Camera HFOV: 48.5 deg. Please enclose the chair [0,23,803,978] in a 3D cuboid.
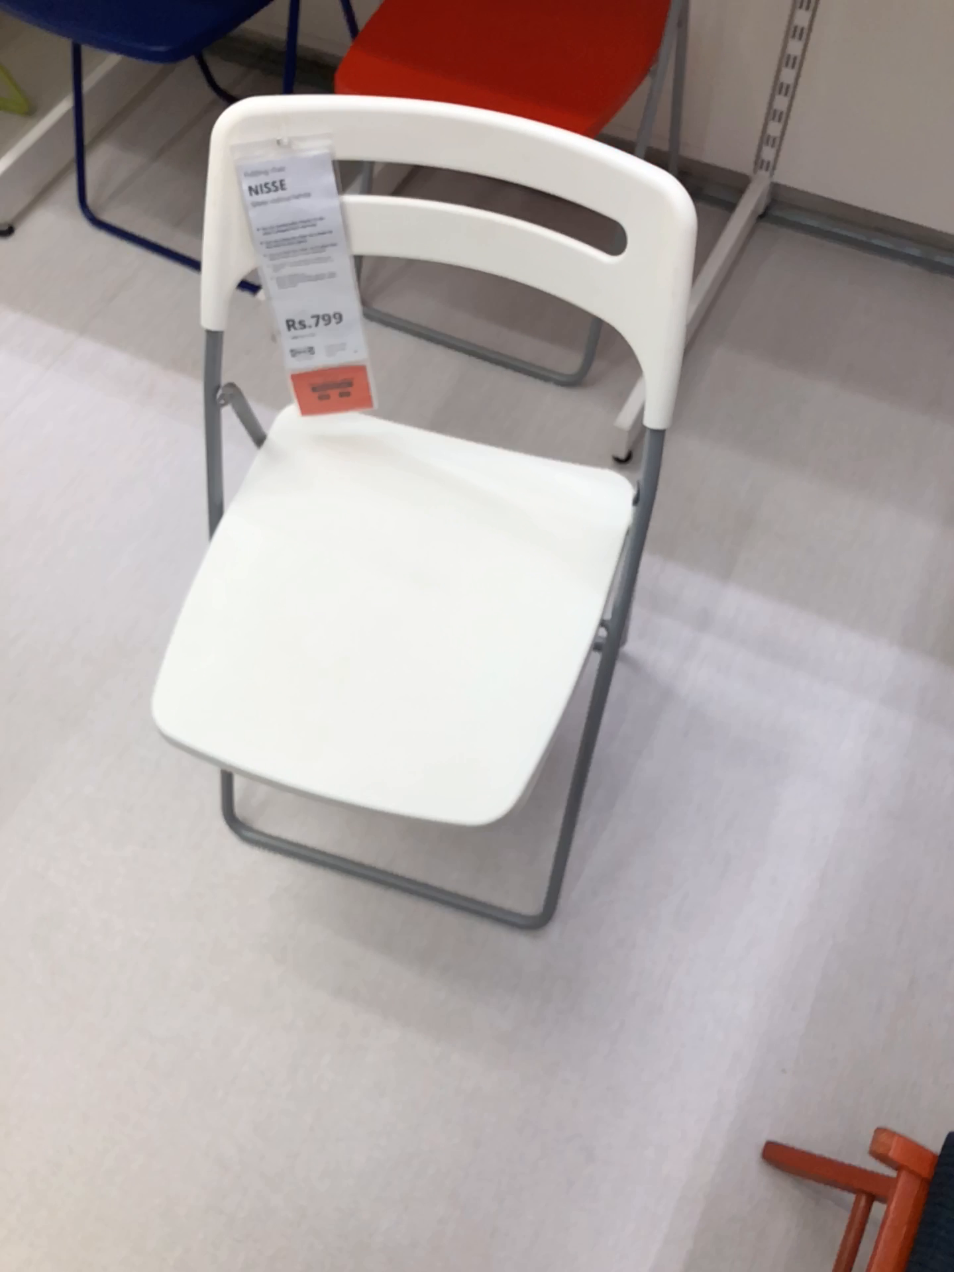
[{"bbox_3d":[-0.057,-0.076,1.035,0.500,0.667,0.542,15,62,9],"label":"chair"}]
